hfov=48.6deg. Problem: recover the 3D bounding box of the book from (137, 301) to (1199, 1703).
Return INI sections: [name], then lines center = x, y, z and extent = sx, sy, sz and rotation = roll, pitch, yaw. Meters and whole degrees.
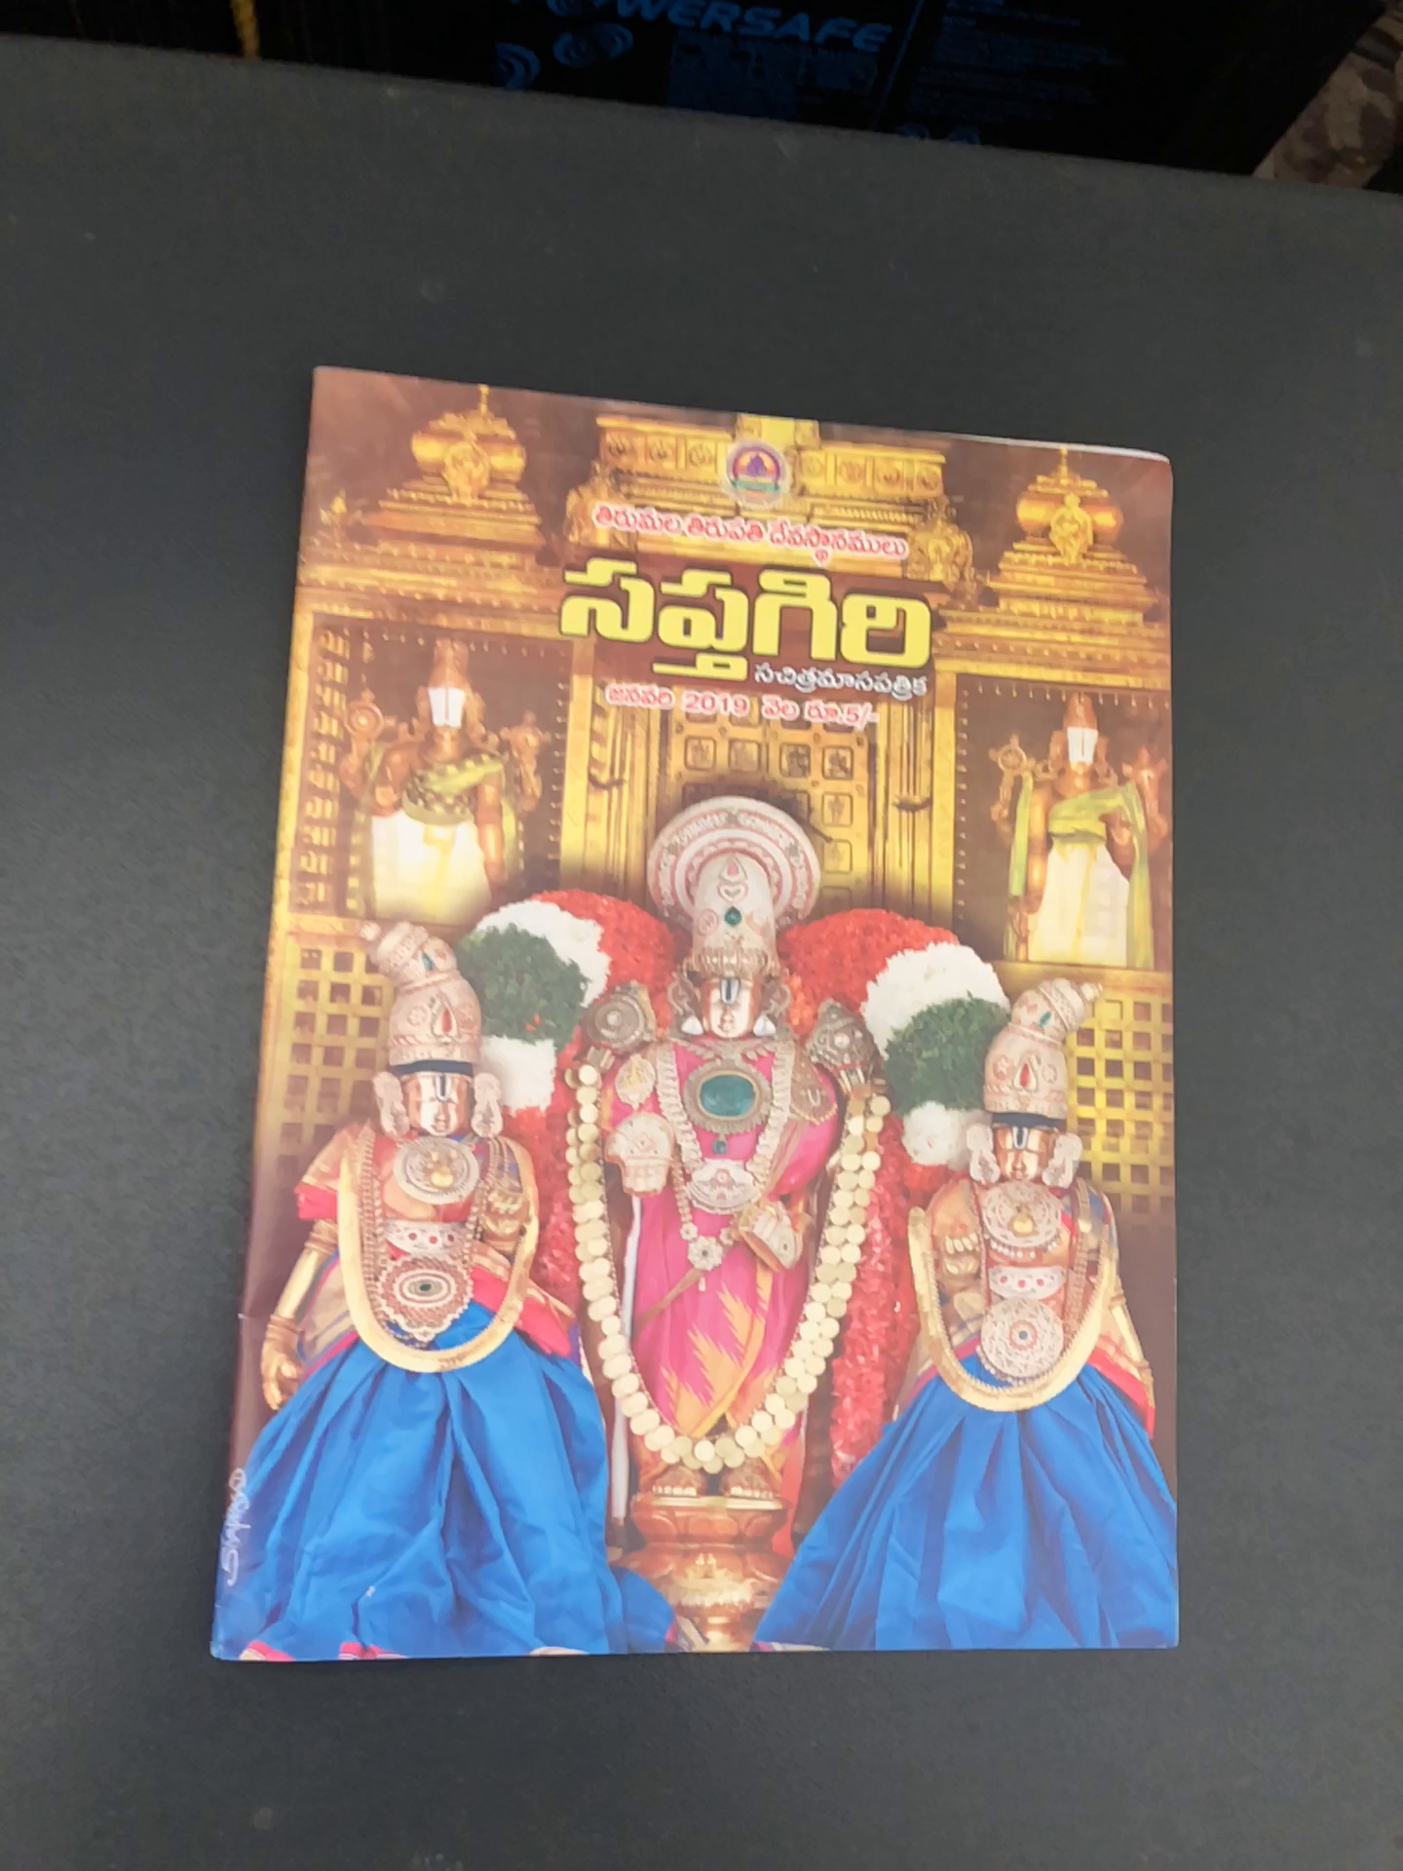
[book]
center = 0.001, 0.011, 0.326
extent = 0.200, 0.030, 0.270
rotation = 3, 81, -8
